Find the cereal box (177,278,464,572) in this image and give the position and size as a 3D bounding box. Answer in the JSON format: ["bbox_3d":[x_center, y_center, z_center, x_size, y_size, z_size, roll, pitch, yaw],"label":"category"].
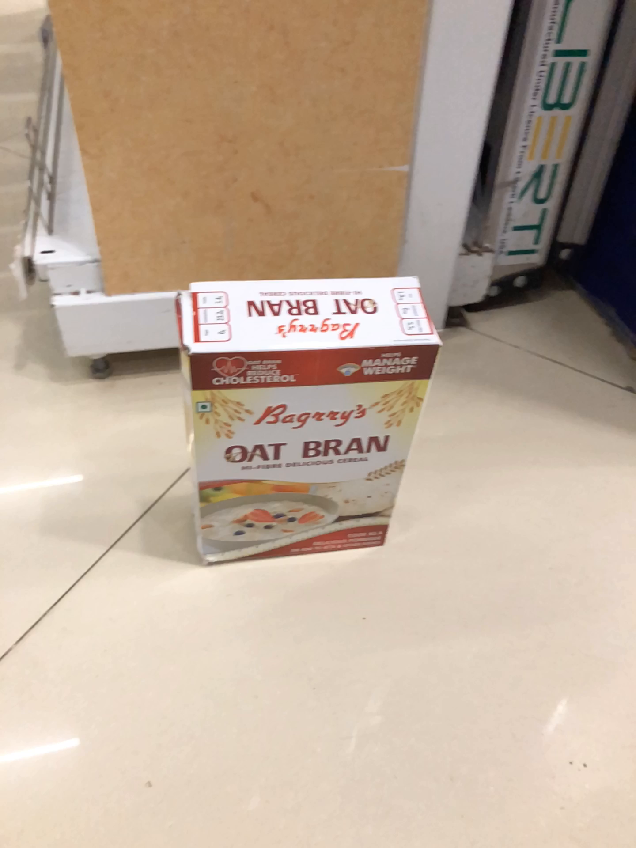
[{"bbox_3d":[-0.003,0.011,0.462,0.150,0.209,0.060,-2,47,-5],"label":"cereal box"}]
